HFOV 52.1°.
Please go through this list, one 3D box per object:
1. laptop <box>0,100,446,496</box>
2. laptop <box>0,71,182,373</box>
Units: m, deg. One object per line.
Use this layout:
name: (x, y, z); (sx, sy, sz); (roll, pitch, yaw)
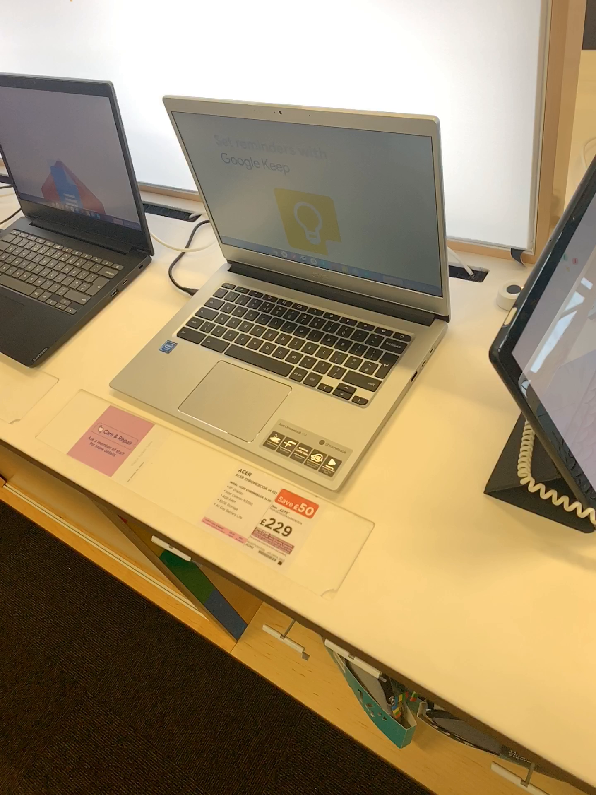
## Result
laptop: (-0.056, -0.112, 0.579); (0.304, 0.207, 0.237); (20, 59, 30)
laptop: (-0.393, -0.246, 0.805); (0.309, 0.204, 0.283); (23, 63, 31)
